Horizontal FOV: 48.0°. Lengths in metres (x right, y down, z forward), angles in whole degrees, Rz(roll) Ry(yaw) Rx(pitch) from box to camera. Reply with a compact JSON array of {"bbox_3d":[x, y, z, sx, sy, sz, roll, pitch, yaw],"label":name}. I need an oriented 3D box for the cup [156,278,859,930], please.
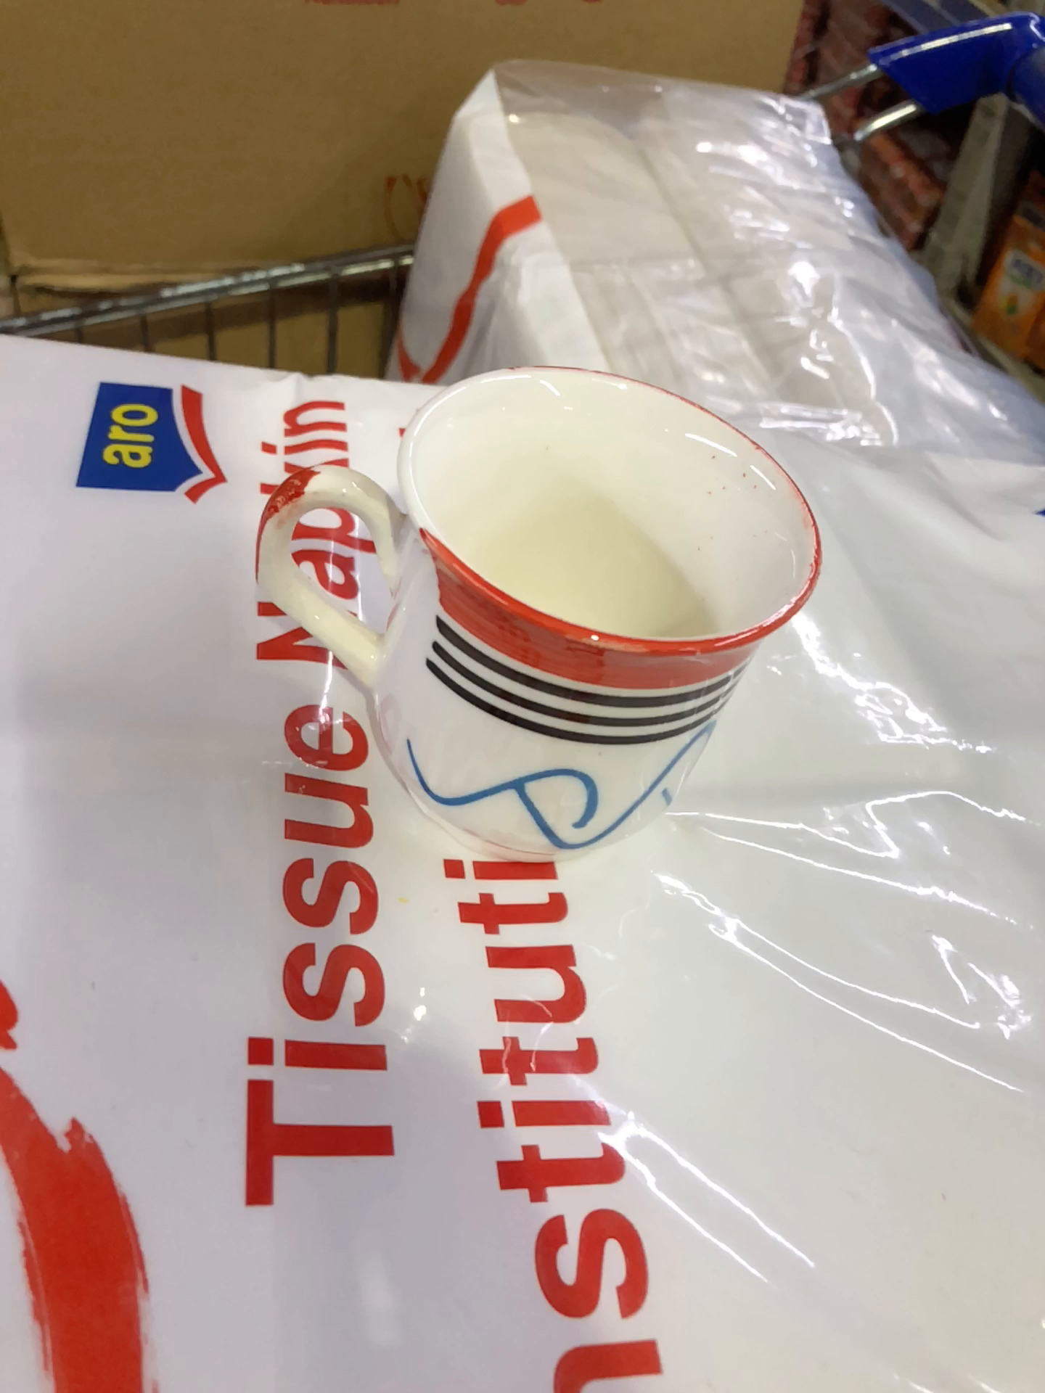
[{"bbox_3d":[-0.004,-0.014,0.193,0.090,0.060,0.070,10,49,-6],"label":"cup"}]
